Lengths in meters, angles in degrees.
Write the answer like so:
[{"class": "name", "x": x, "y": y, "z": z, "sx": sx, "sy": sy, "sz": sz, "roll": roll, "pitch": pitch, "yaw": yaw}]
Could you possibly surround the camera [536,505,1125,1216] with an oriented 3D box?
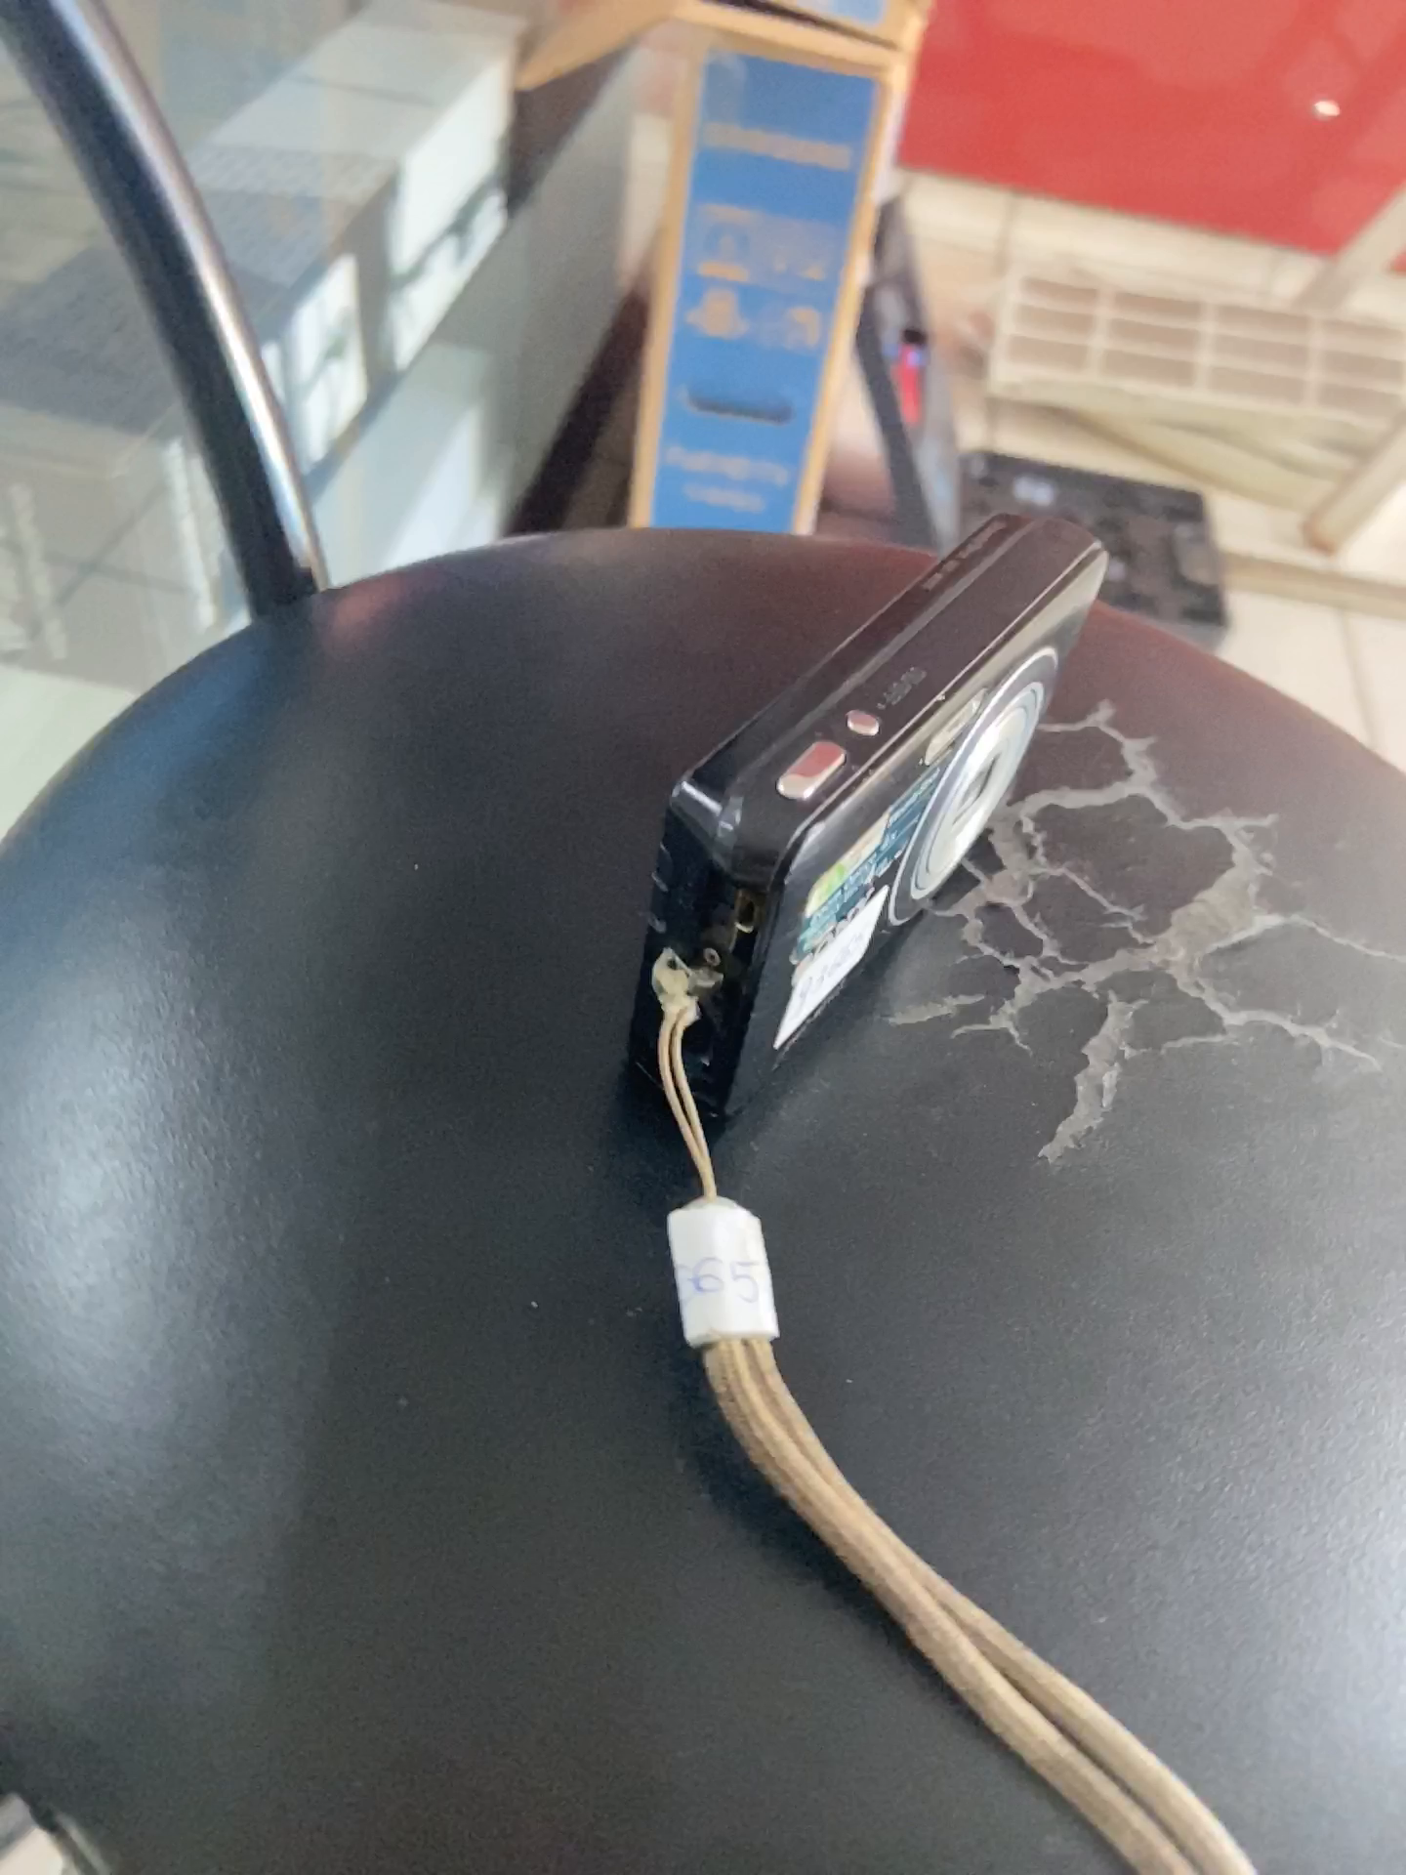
[{"class": "camera", "x": 0.021, "y": -0.016, "z": 0.209, "sx": 0.020, "sy": 0.050, "sz": 0.111, "roll": 31, "pitch": 49, "yaw": 19}]
